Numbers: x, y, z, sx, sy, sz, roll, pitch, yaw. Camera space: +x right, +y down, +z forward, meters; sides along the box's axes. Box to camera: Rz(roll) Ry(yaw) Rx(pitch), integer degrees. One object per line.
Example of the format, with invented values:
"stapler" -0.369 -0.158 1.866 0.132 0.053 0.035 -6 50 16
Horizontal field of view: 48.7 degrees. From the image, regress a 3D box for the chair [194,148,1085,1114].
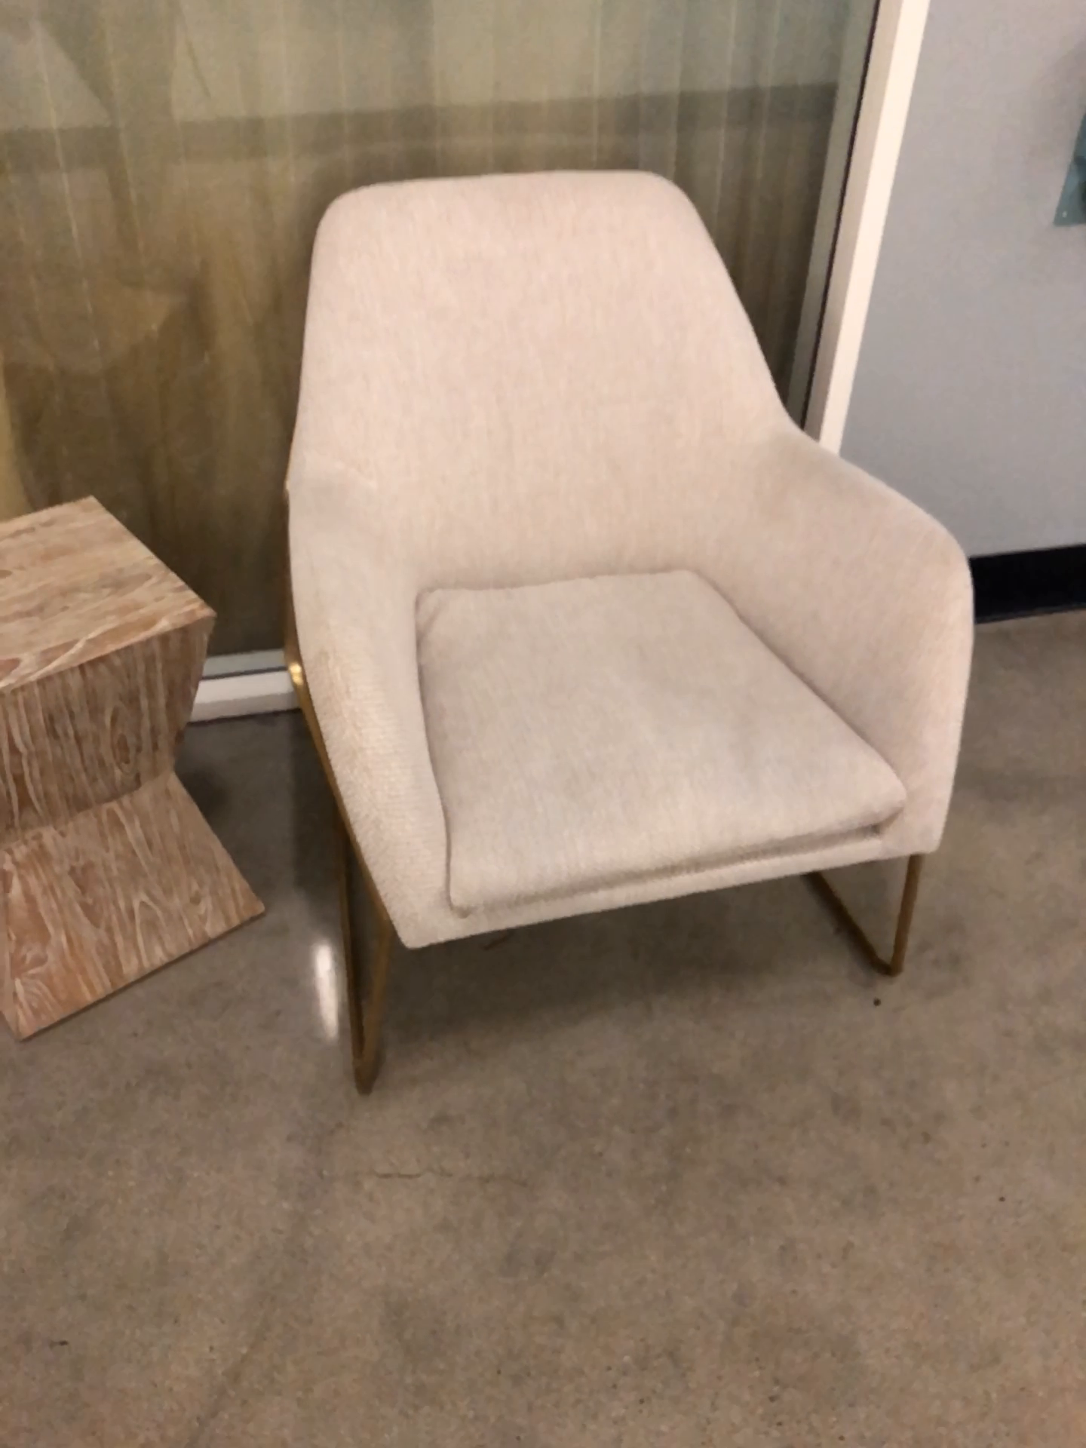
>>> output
"chair" 0.047 -0.196 1.573 0.830 0.816 0.894 -8 39 -13
